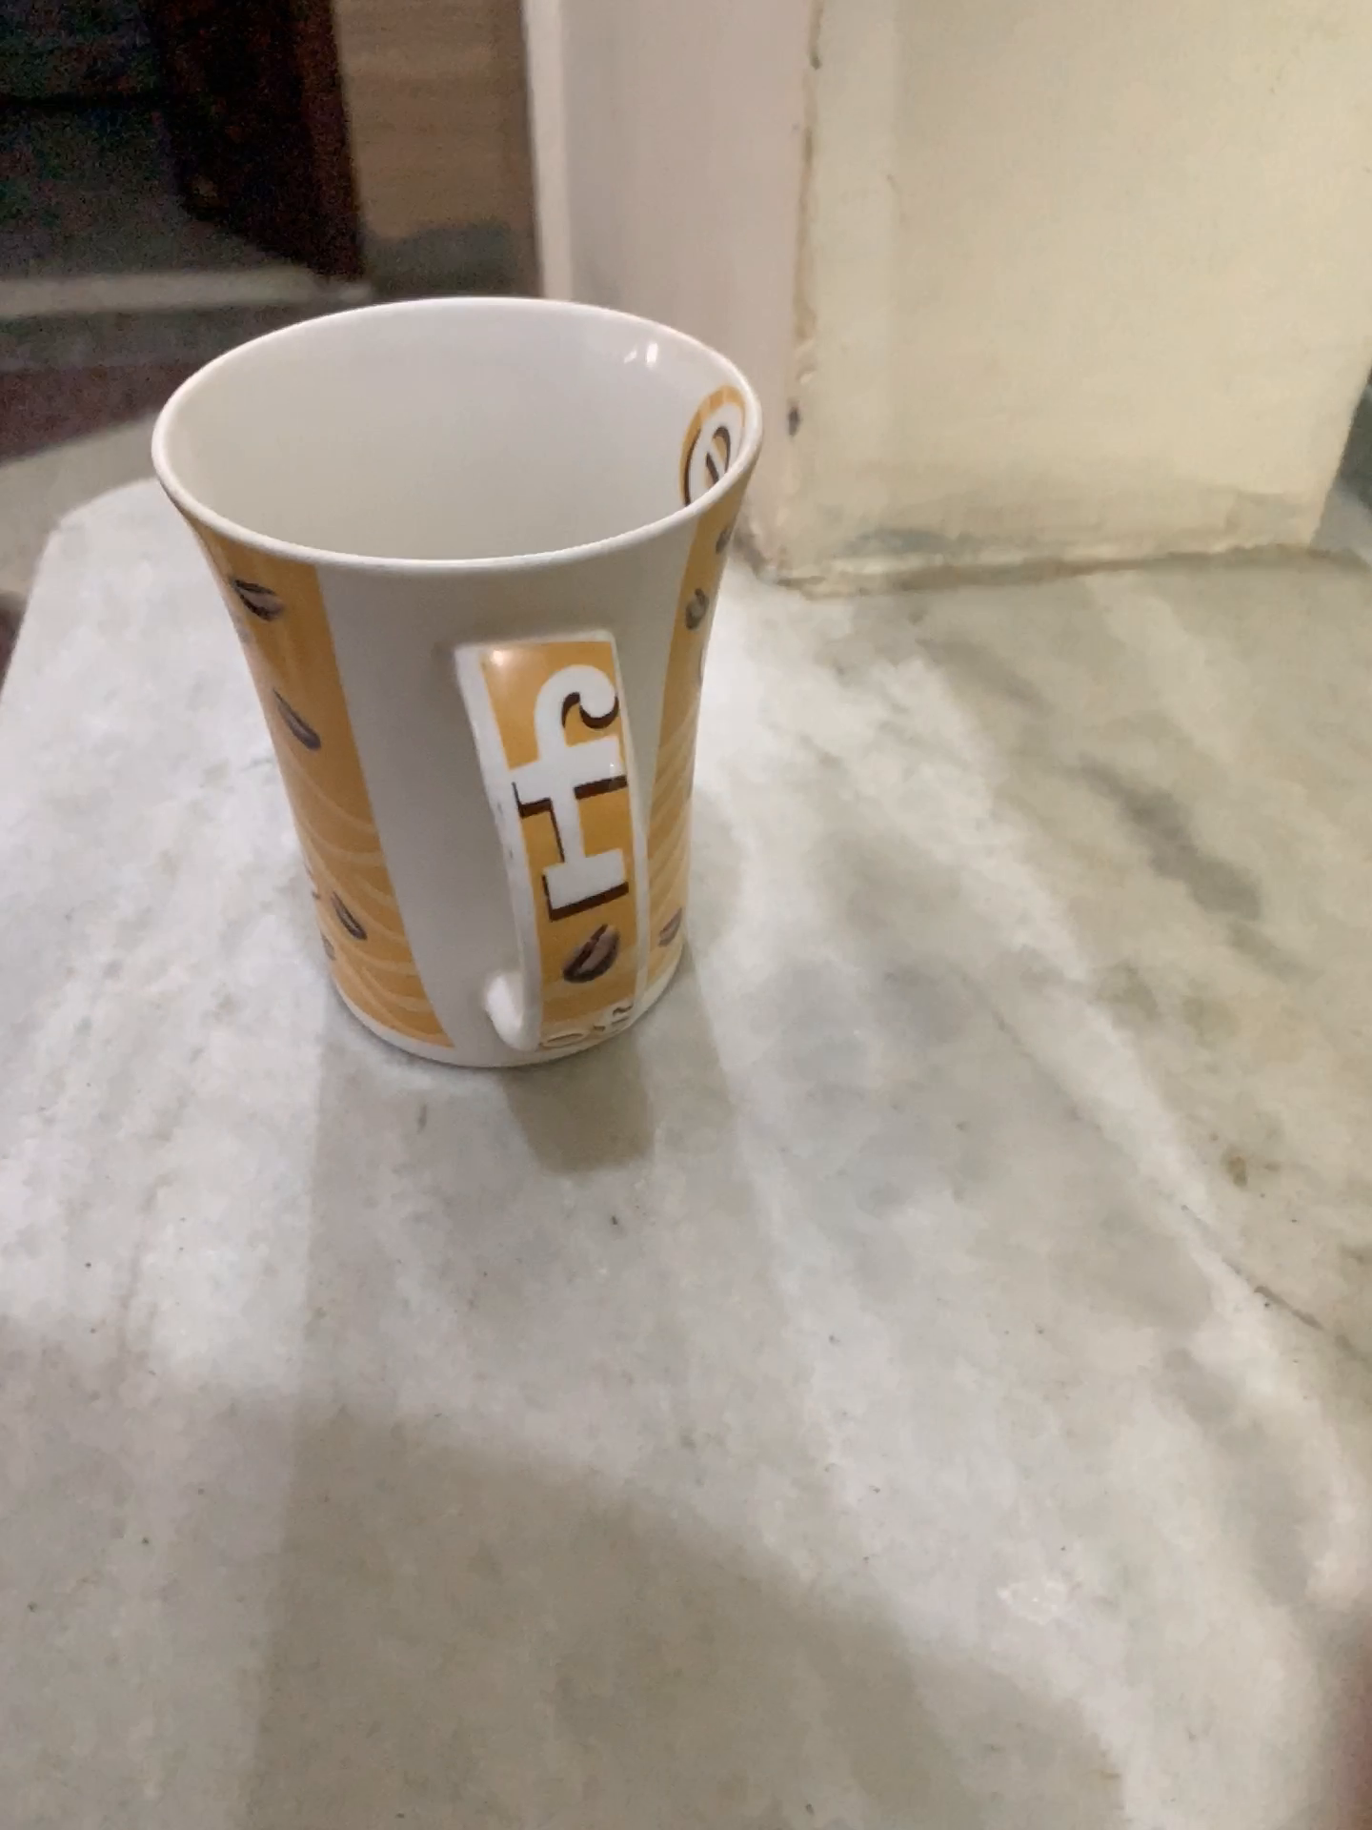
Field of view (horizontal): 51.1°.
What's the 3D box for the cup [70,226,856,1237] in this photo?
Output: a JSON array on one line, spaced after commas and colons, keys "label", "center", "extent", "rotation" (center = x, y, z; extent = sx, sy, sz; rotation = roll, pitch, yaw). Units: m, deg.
[{"label": "cup", "center": [-0.036, -0.031, 0.215], "extent": [0.080, 0.100, 0.100], "rotation": [-11, 45, -14]}]
